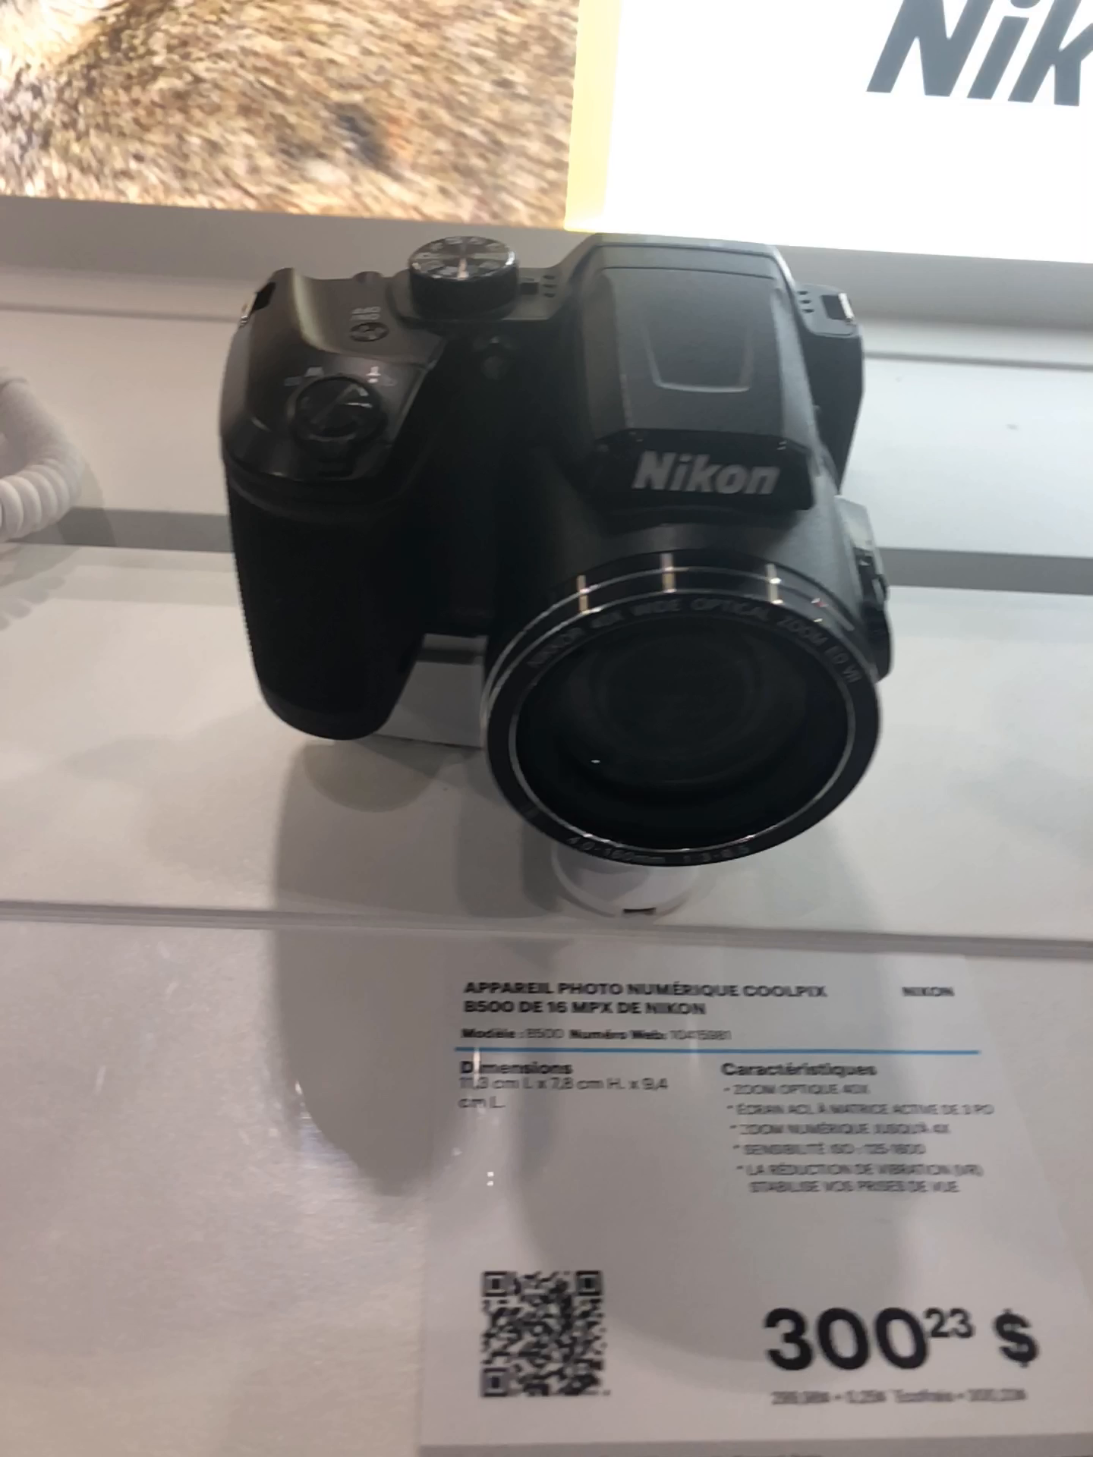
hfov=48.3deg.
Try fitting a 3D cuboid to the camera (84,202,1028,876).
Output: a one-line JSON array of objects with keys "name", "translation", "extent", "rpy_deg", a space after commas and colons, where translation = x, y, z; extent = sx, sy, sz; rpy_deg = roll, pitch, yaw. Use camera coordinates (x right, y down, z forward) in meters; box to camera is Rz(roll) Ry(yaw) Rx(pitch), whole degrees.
[{"name": "camera", "translation": [0.000, -0.033, 0.197], "extent": [0.111, 0.069, 0.085], "rpy_deg": [2, 40, -3]}]
